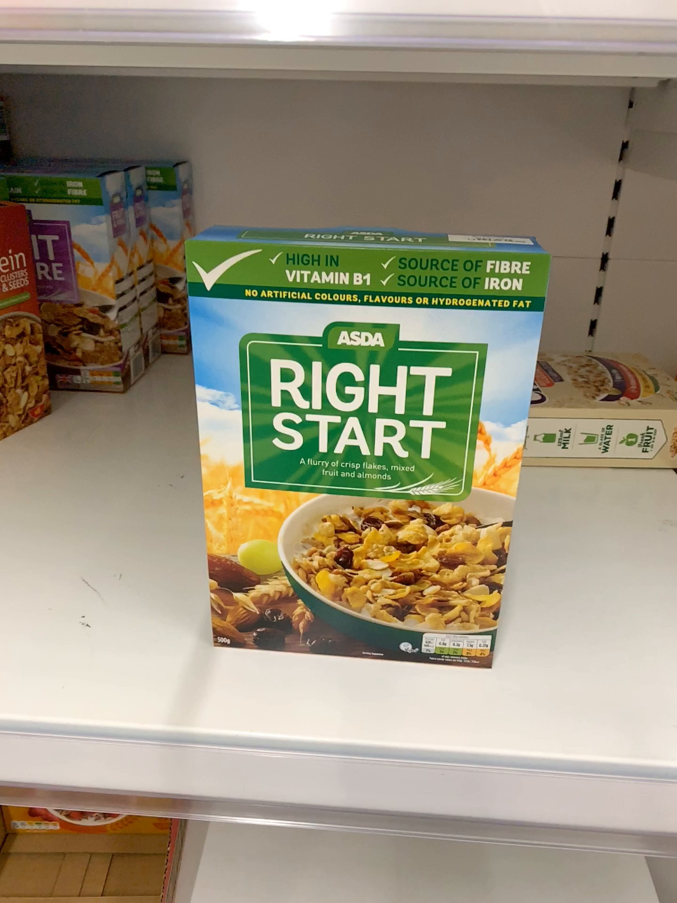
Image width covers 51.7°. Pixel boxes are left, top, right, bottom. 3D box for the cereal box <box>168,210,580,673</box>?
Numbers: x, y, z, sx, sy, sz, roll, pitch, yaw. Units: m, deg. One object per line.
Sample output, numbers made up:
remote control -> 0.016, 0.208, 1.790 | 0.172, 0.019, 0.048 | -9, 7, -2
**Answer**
cereal box -> 0.016, 0.001, 0.429 | 0.200, 0.268, 0.071 | 3, 26, 4
